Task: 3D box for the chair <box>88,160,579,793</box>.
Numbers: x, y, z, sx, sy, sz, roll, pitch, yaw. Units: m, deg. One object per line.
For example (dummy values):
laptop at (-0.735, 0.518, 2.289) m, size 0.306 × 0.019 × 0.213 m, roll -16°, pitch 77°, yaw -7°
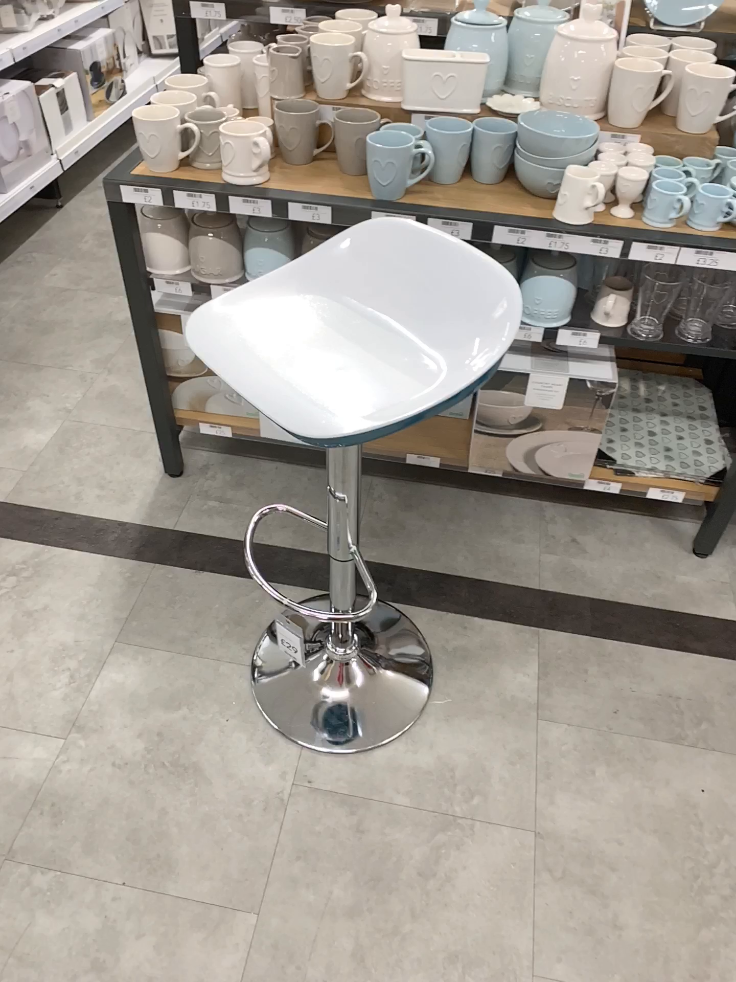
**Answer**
chair at (-0.058, 0.003, 1.222) m, size 0.422 × 0.825 × 0.457 m, roll -30°, pitch 52°, yaw -28°
